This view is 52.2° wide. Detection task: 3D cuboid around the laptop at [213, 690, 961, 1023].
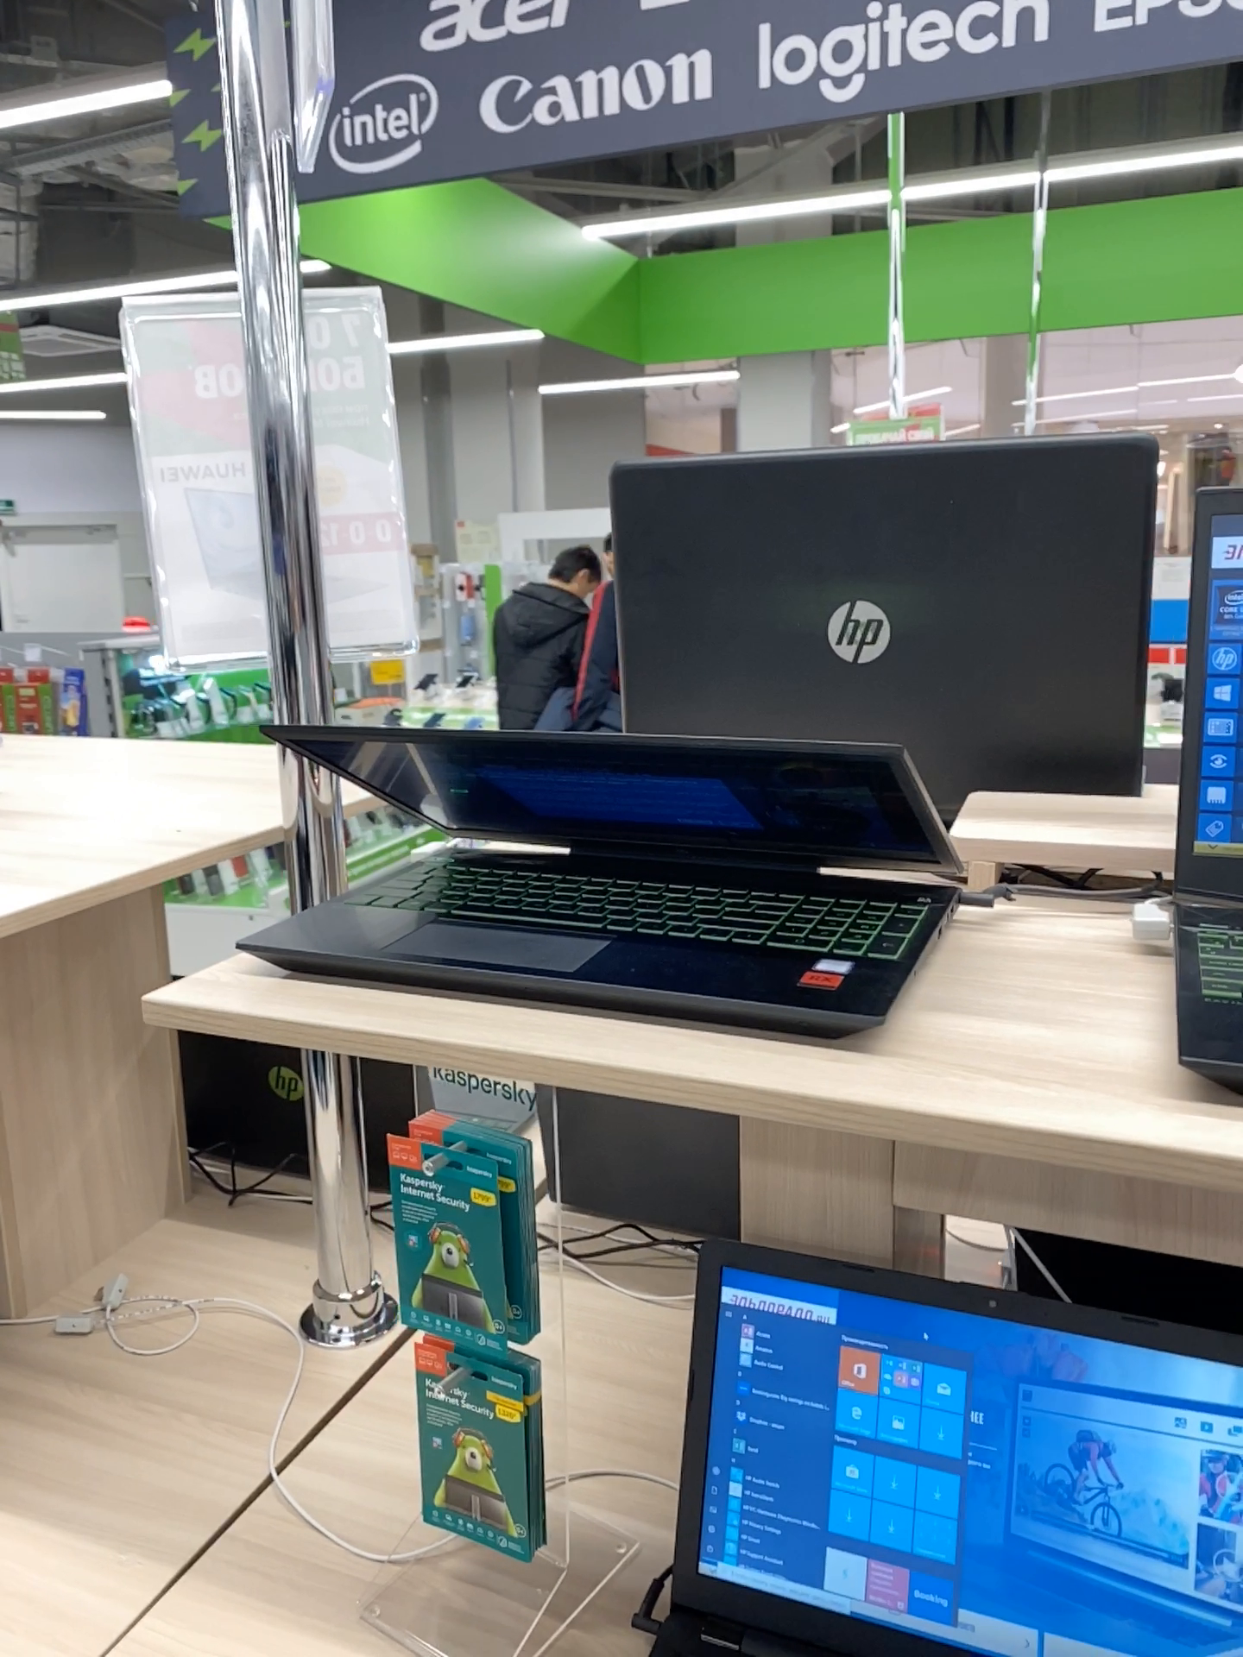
[{"bbox_3d":[-0.007,-0.006,0.741,0.365,0.115,0.244,4,13,23],"label":"laptop"}]
